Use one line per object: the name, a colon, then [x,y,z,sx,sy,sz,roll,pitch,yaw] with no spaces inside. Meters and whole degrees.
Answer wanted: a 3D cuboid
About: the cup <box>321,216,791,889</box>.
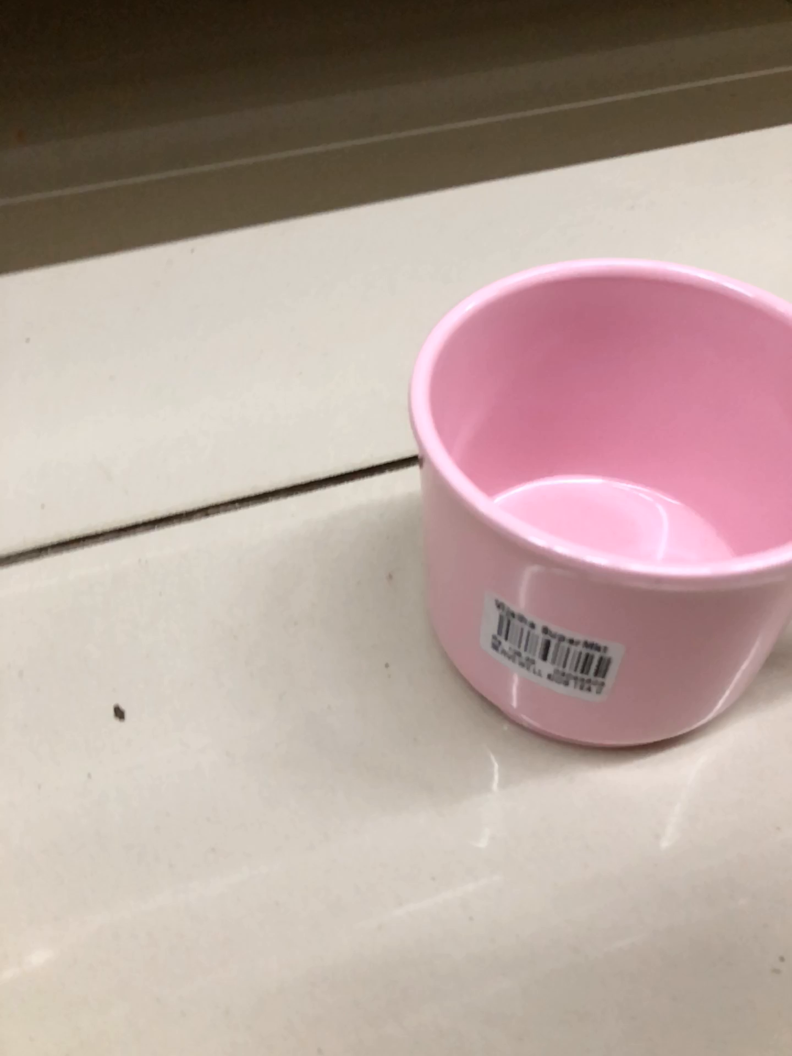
cup: [0.054,0.003,0.170,0.110,0.080,0.081,10,50,11]
